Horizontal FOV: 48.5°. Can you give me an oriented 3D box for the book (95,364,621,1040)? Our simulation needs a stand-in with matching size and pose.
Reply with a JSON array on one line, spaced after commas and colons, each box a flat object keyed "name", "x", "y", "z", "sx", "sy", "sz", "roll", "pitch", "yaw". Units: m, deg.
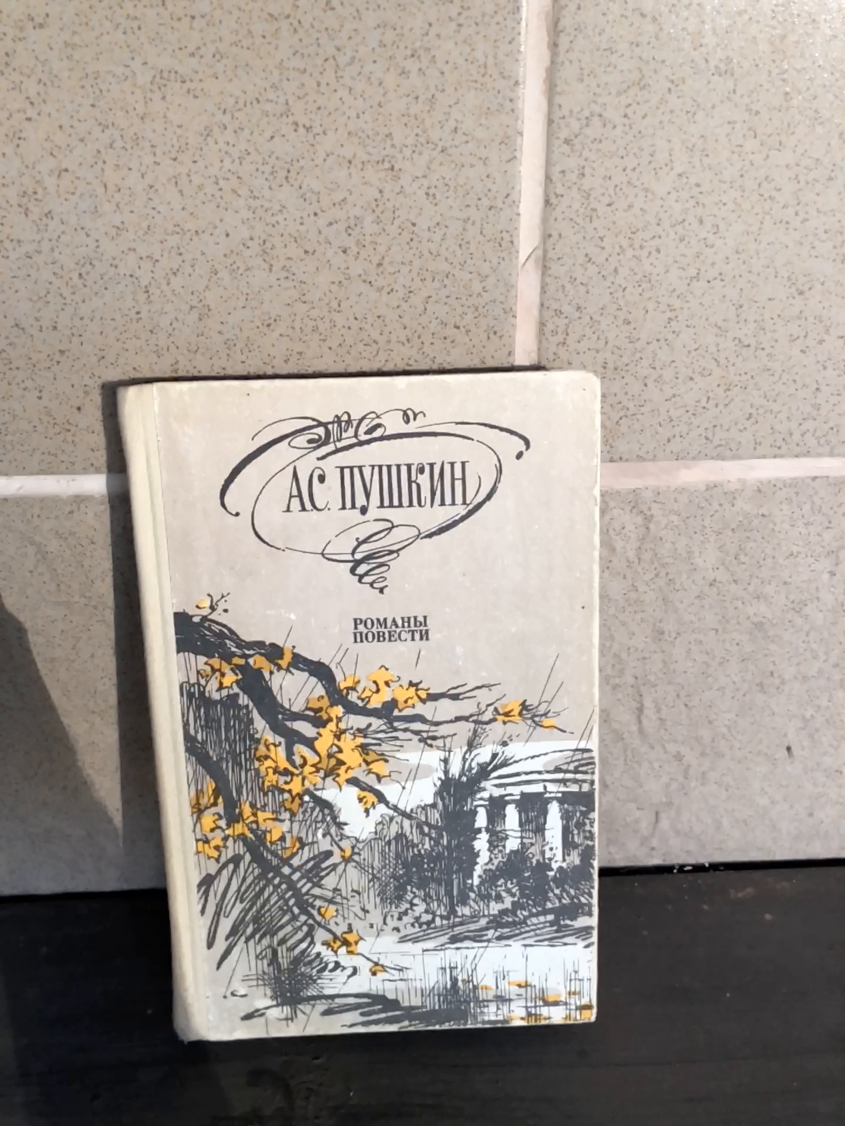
[{"name": "book", "x": -0.013, "y": 0.046, "z": 0.269, "sx": 0.130, "sy": 0.198, "sz": 0.020, "roll": -2, "pitch": 16, "yaw": 0}]
